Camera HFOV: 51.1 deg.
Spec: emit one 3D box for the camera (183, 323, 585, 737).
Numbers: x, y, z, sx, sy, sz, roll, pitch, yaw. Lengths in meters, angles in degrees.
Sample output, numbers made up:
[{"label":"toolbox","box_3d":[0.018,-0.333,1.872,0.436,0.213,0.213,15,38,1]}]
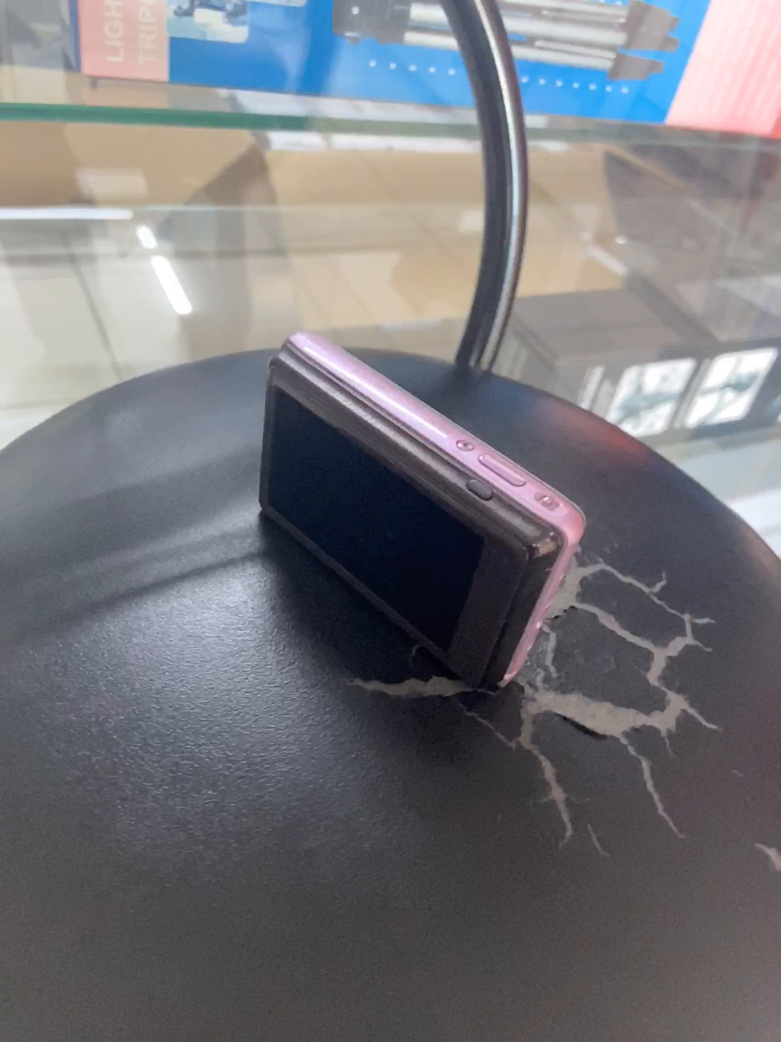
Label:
[{"label":"camera","box_3d":[-0.008,-0.001,0.205,0.100,0.050,0.030,37,47,24]}]
